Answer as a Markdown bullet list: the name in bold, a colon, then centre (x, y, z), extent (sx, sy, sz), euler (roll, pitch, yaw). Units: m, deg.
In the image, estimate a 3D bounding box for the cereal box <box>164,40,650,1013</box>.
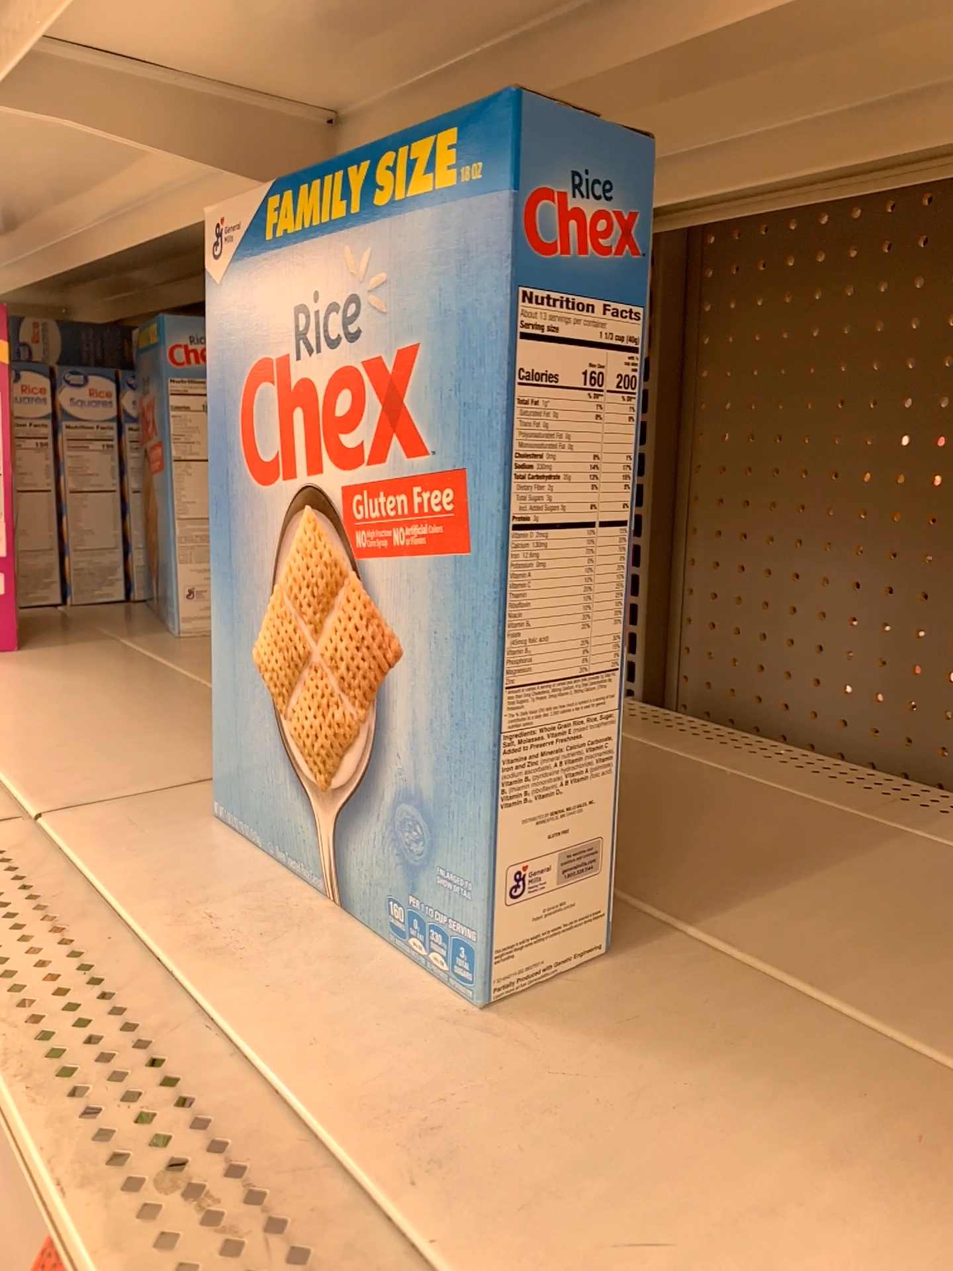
- **cereal box**: centre (-0.050, -0.046, 0.444), extent (0.080, 0.319, 0.251), euler (-7, 13, -37)
